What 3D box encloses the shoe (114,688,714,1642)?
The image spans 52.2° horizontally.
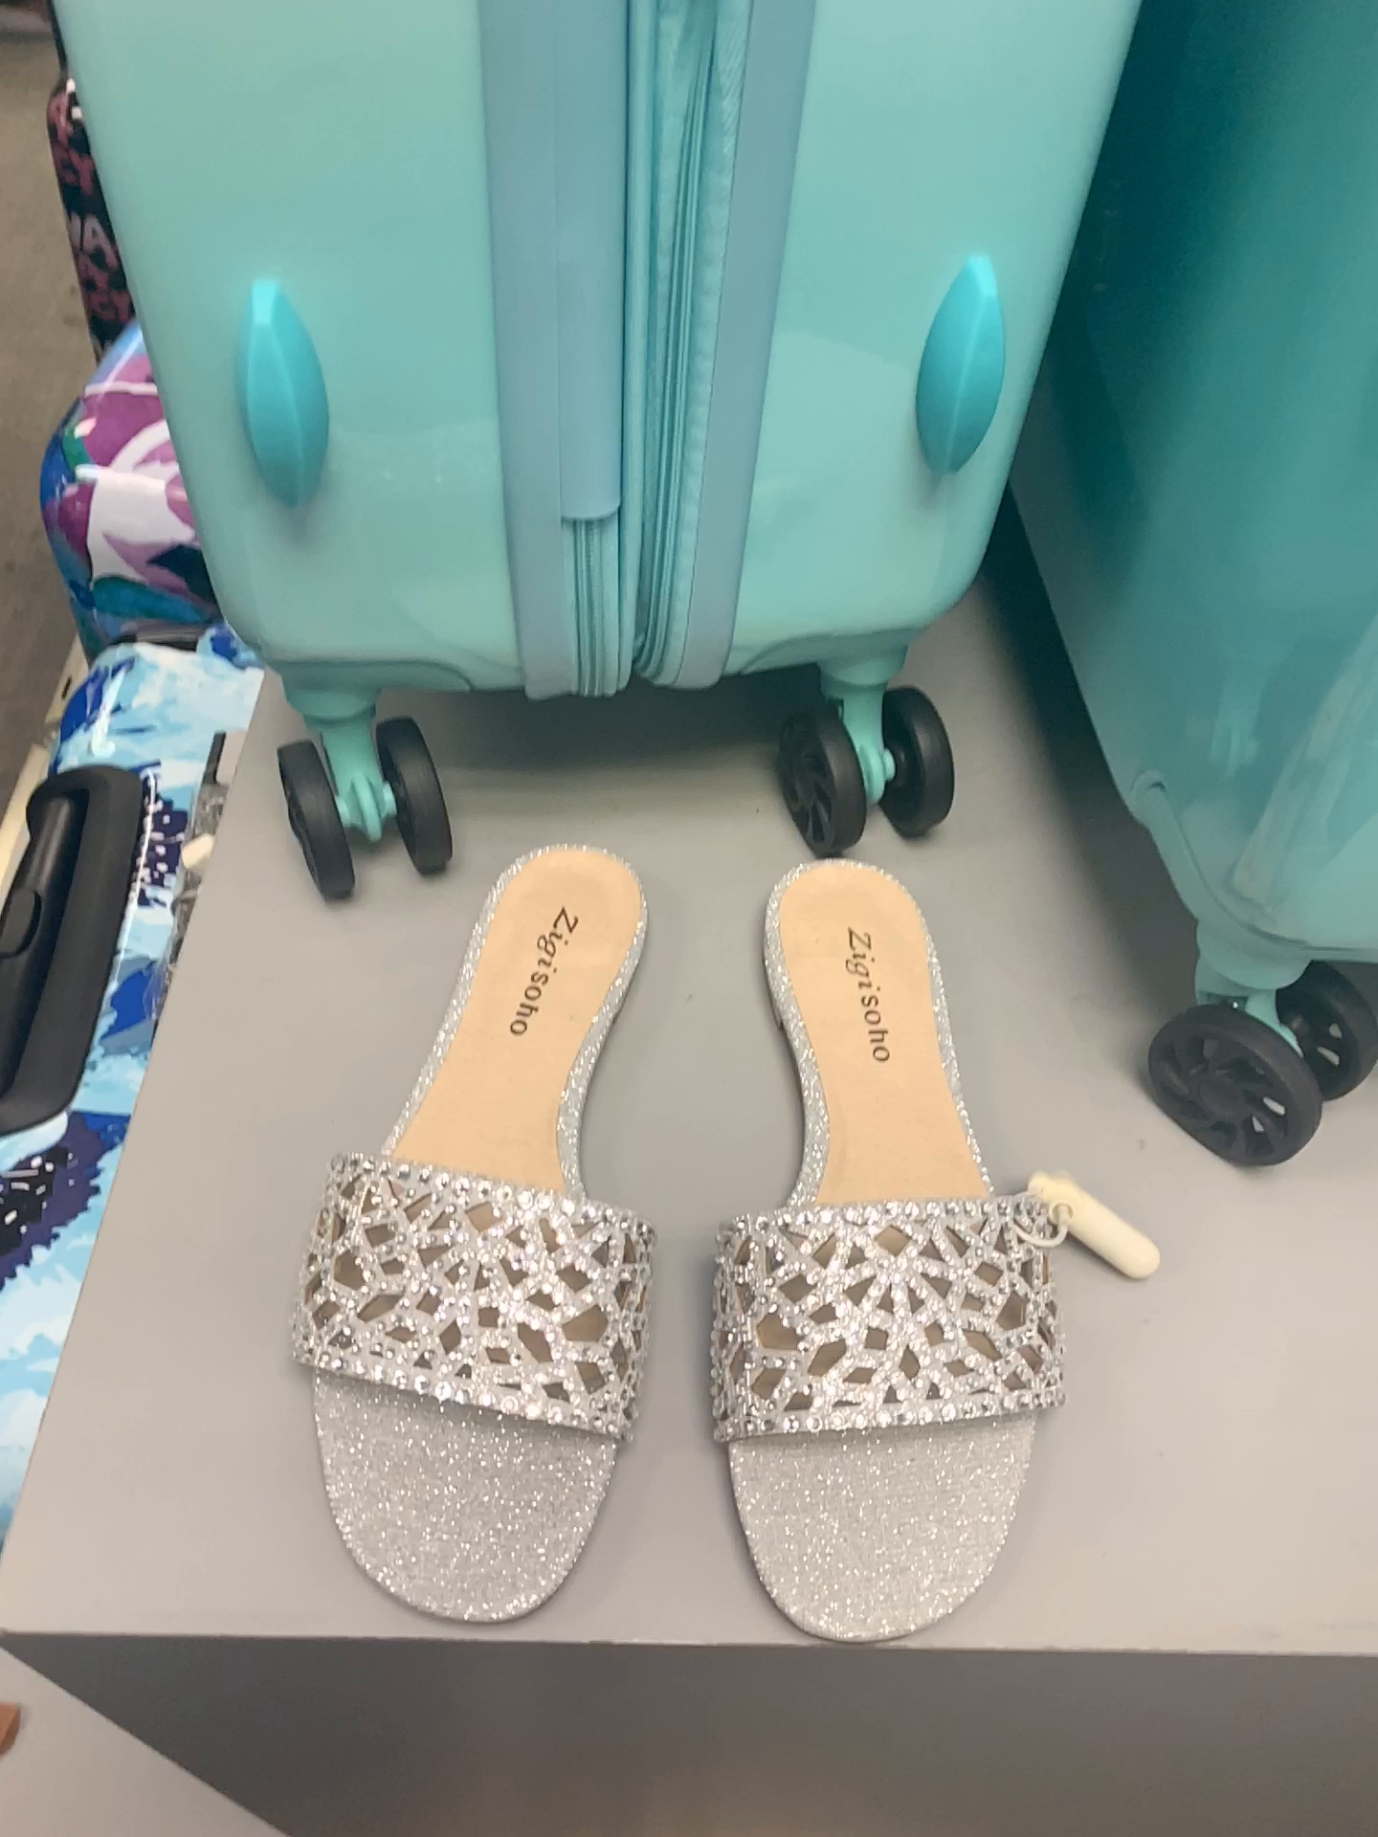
[{"bbox_3d":[-0.054,0.048,0.376,0.100,0.061,0.244,6,51,1],"label":"shoe"}]

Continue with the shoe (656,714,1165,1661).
[{"bbox_3d":[0.049,0.055,0.376,0.098,0.061,0.243,4,51,-1],"label":"shoe"}]
